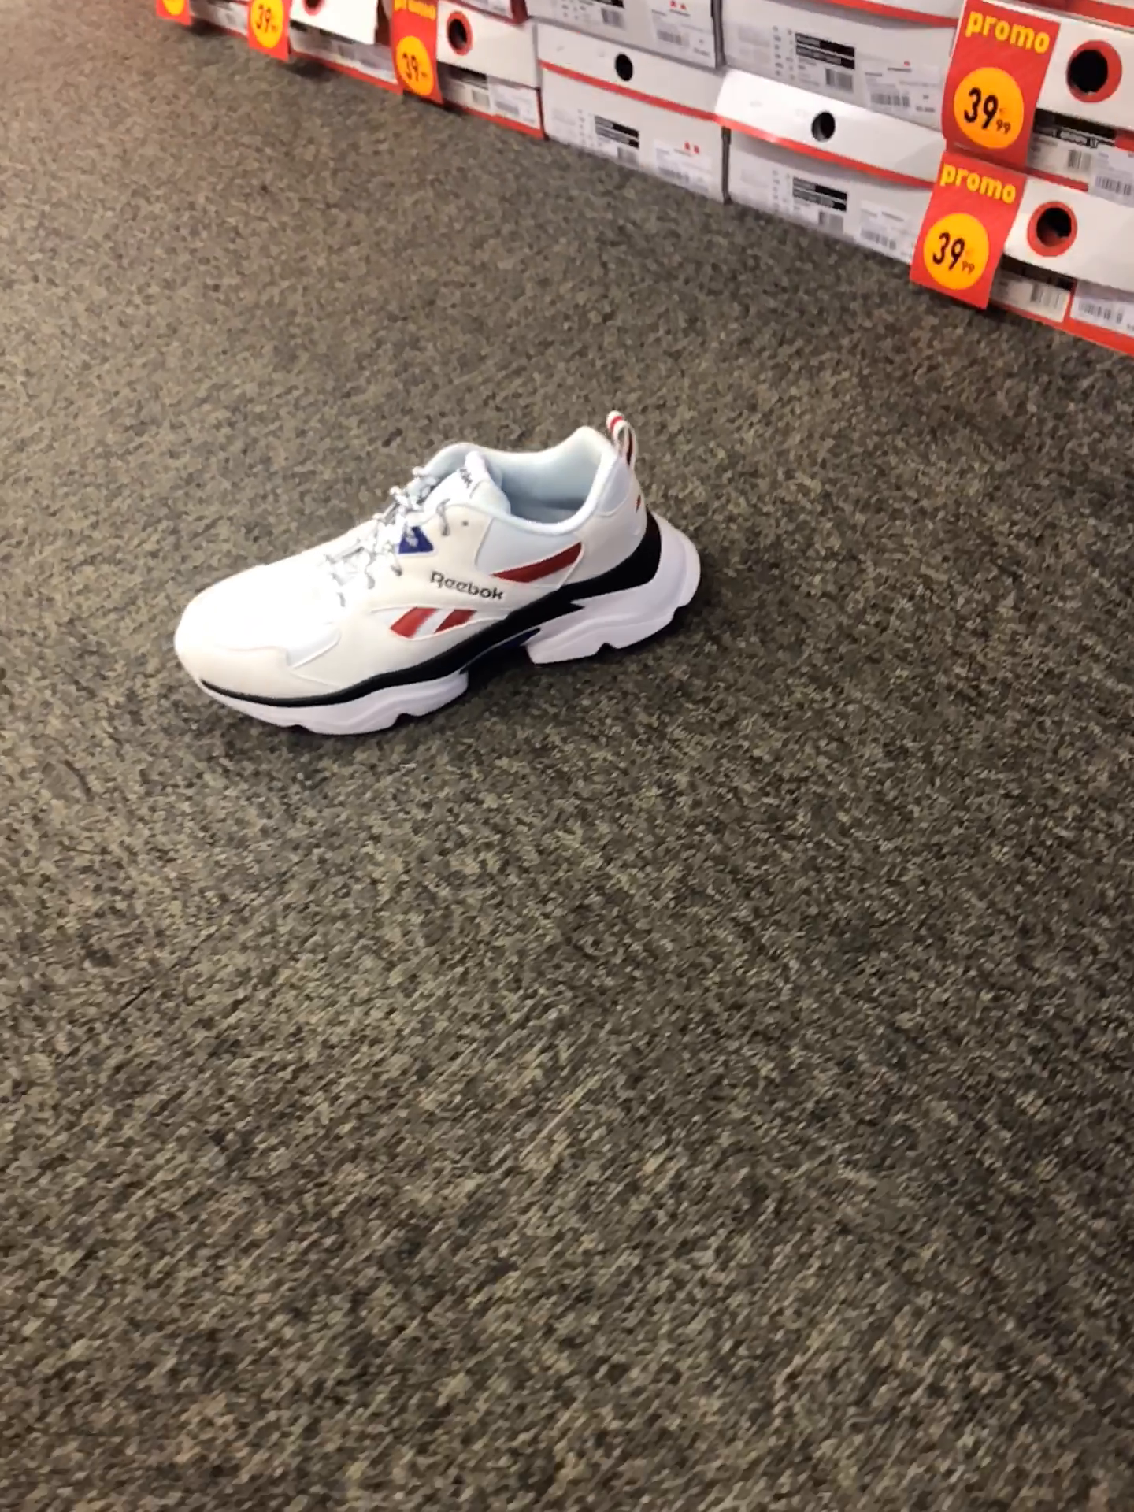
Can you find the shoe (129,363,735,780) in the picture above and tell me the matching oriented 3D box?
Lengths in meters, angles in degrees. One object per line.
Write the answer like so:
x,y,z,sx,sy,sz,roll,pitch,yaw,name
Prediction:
-0.070,-0.102,0.687,0.300,0.110,0.114,-15,51,-5,shoe
